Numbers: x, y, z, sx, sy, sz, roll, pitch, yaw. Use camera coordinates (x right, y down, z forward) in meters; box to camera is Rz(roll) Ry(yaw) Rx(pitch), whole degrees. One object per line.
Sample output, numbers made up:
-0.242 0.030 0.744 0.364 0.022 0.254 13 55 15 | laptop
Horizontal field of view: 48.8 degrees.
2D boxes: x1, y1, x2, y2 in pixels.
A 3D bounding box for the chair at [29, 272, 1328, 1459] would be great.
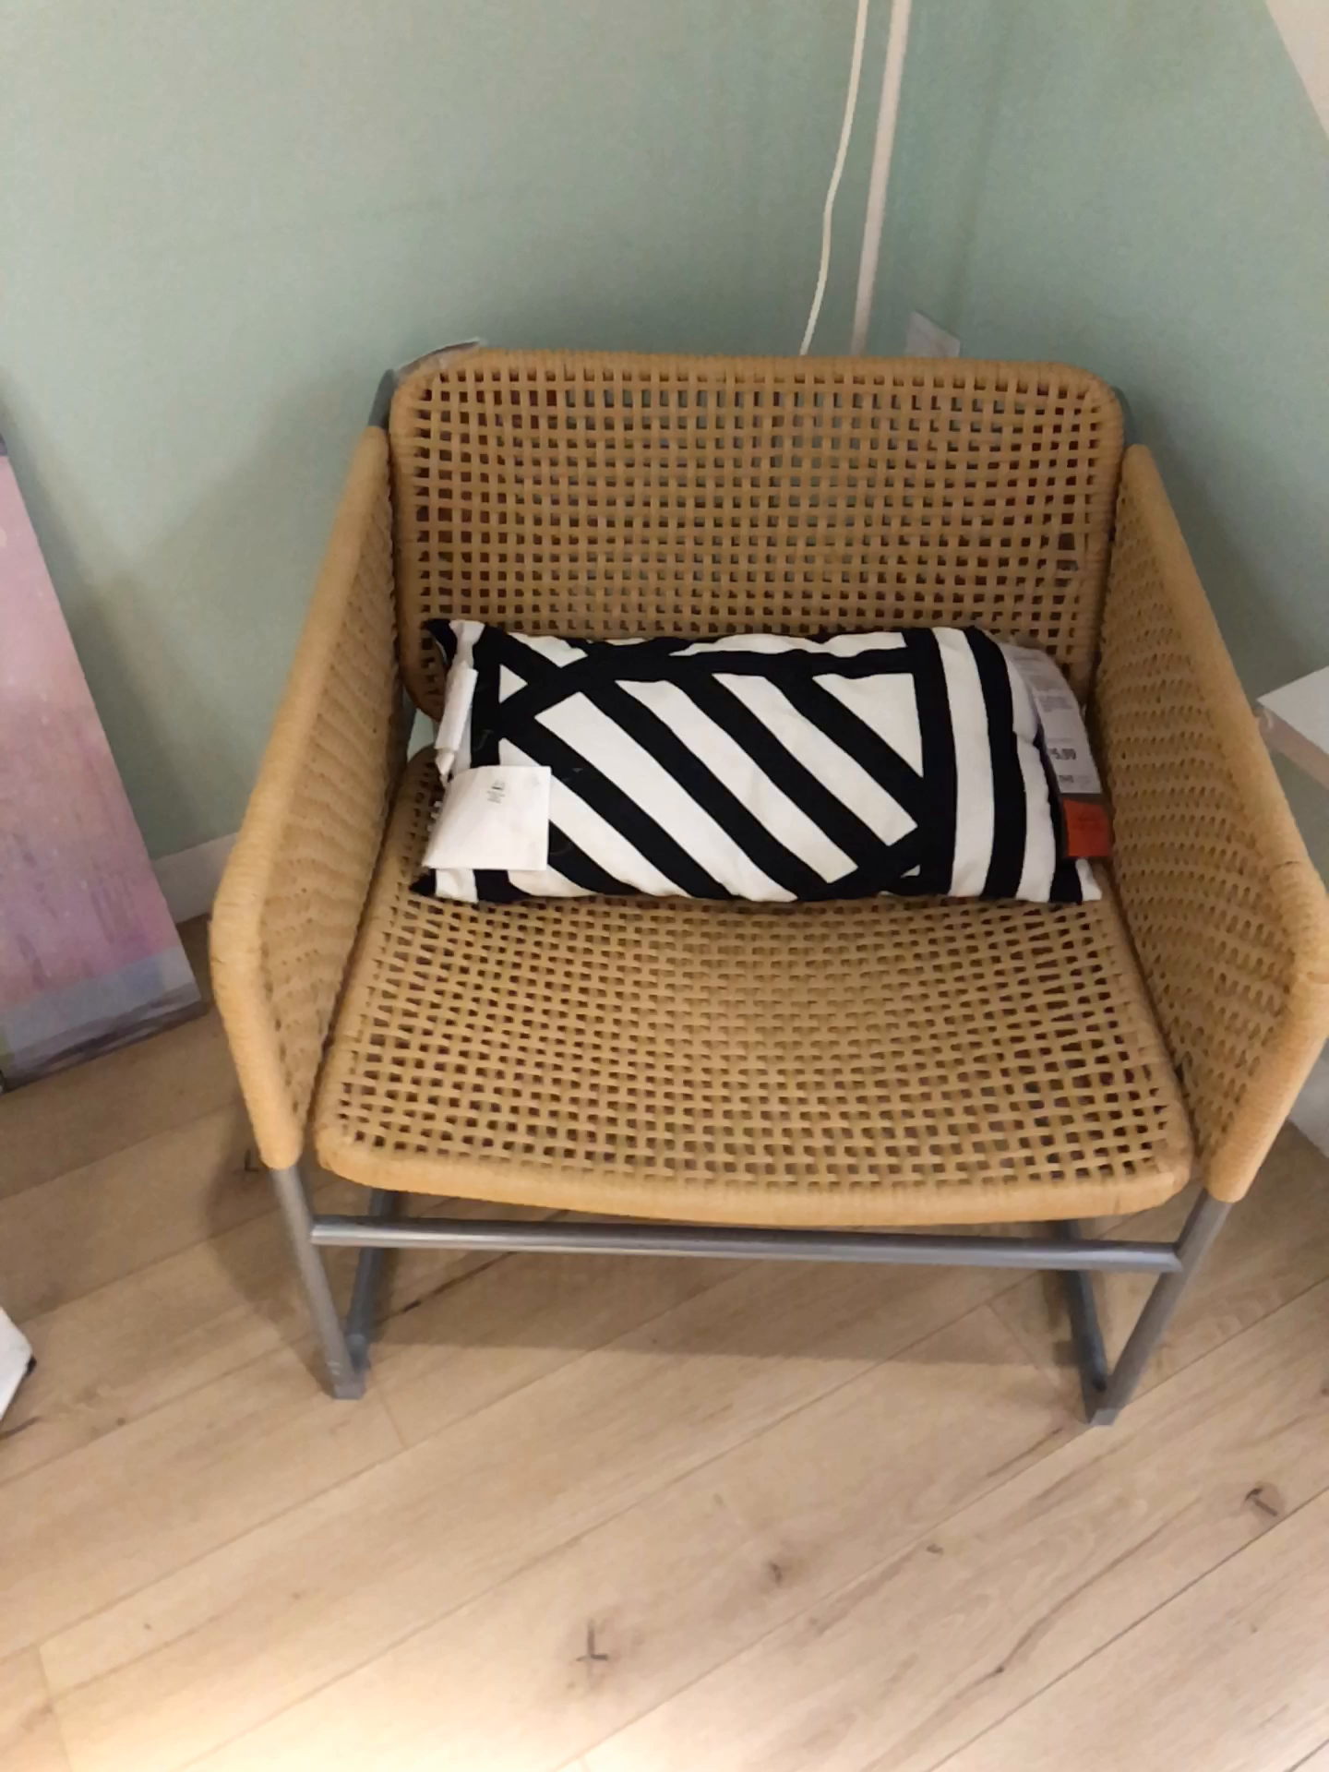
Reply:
0.077 -0.032 1.227 0.790 0.628 0.753 1 46 0 | chair
